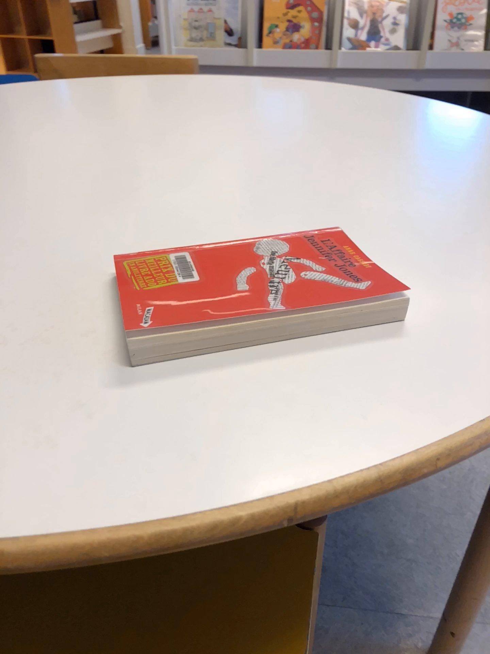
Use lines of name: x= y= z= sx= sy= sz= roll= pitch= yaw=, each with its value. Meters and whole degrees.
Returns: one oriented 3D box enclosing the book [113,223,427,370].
book: x=0.009 y=-0.033 z=0.409 sx=0.203 sy=0.027 sz=0.136 roll=-8 pitch=31 yaw=-12
